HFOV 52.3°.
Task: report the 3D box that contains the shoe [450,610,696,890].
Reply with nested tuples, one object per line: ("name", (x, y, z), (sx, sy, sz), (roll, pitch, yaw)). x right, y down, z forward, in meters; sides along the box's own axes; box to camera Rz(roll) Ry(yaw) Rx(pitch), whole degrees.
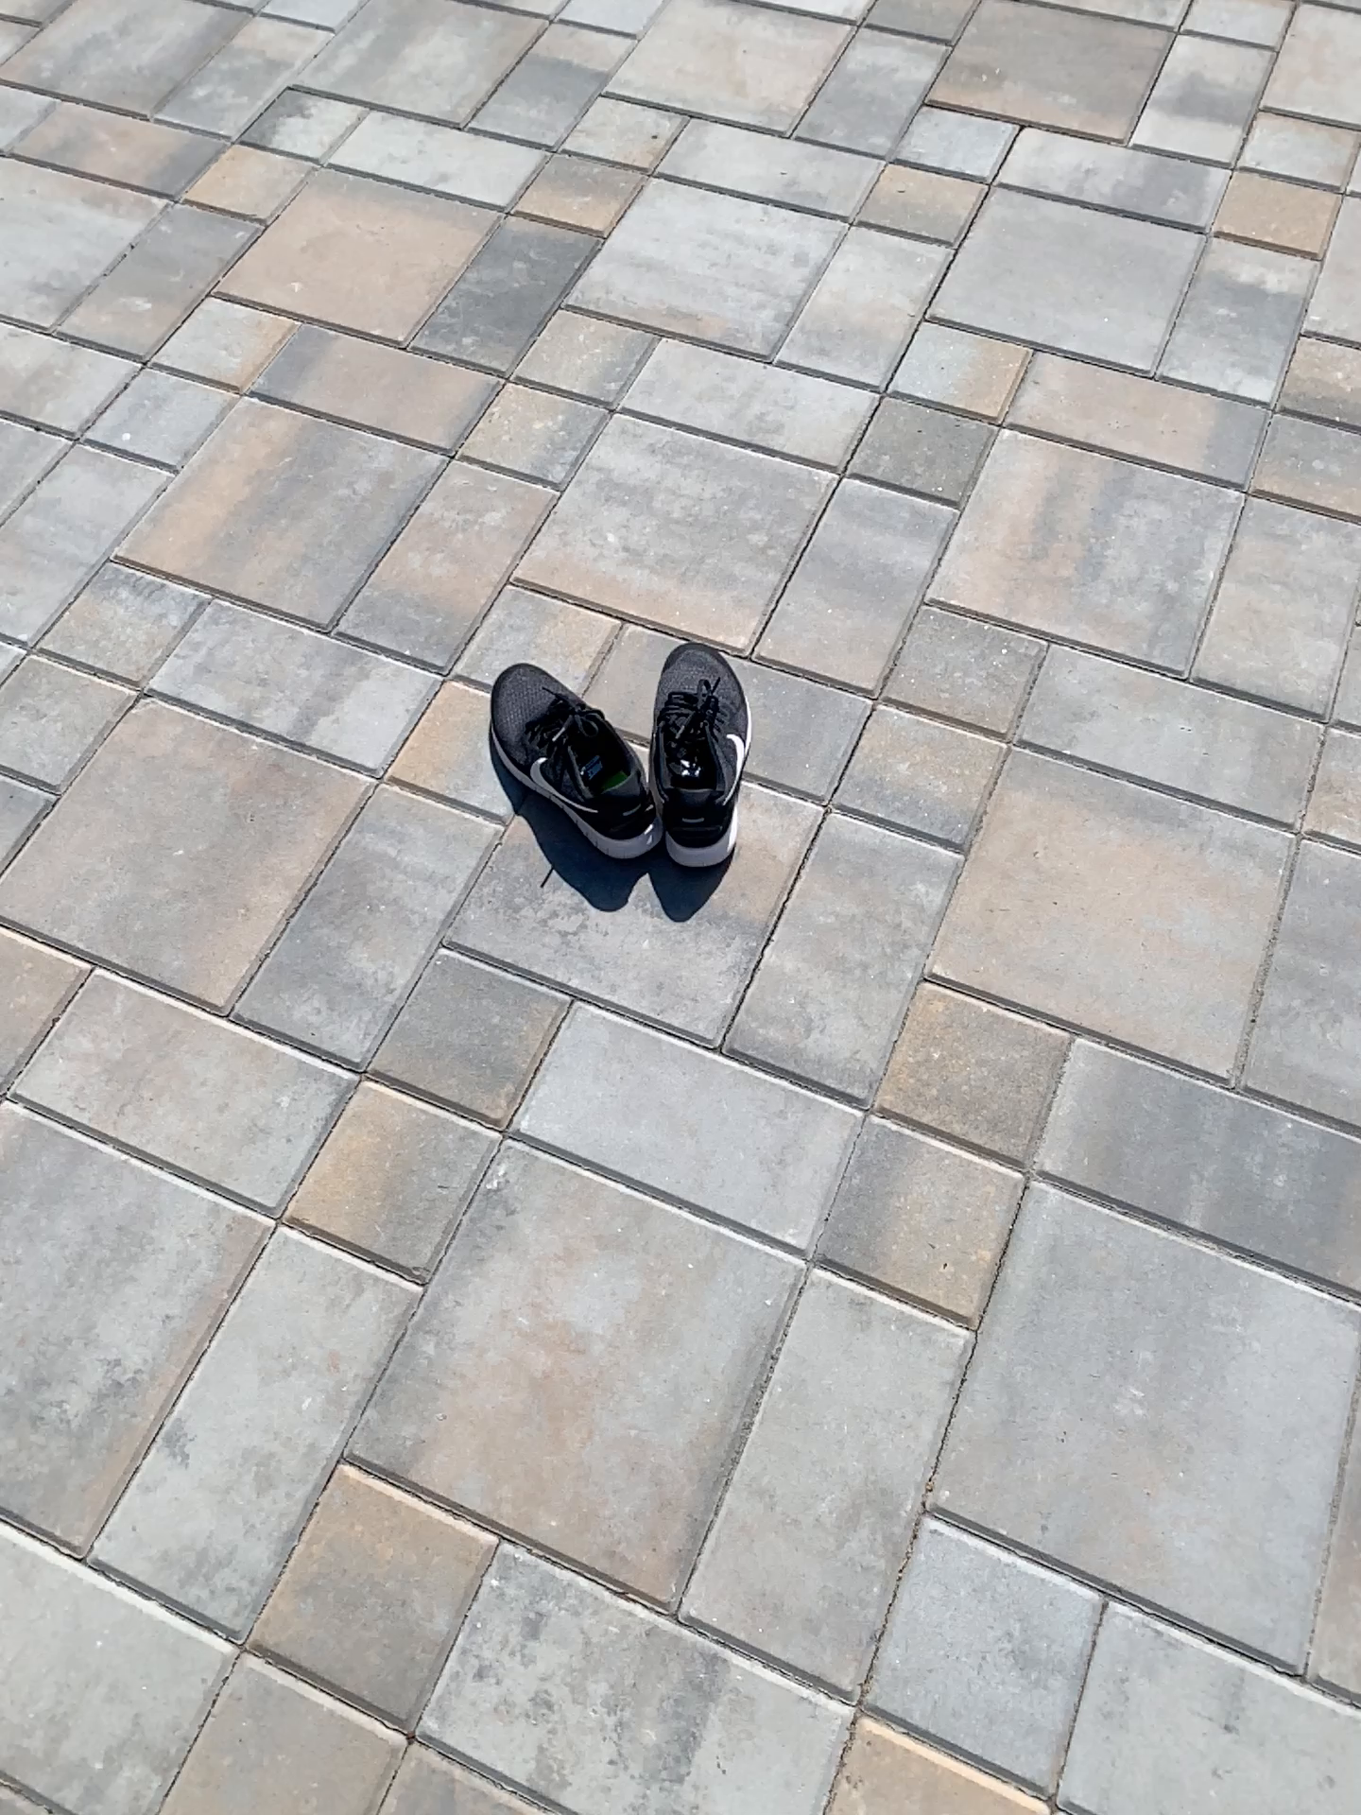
("shoe", (-0.106, -0.159, 1.386), (0.110, 0.110, 0.251), (-35, 66, -17))

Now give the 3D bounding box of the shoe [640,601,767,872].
("shoe", (0.020, -0.171, 1.370), (0.110, 0.100, 0.251), (-2, 61, 0))
